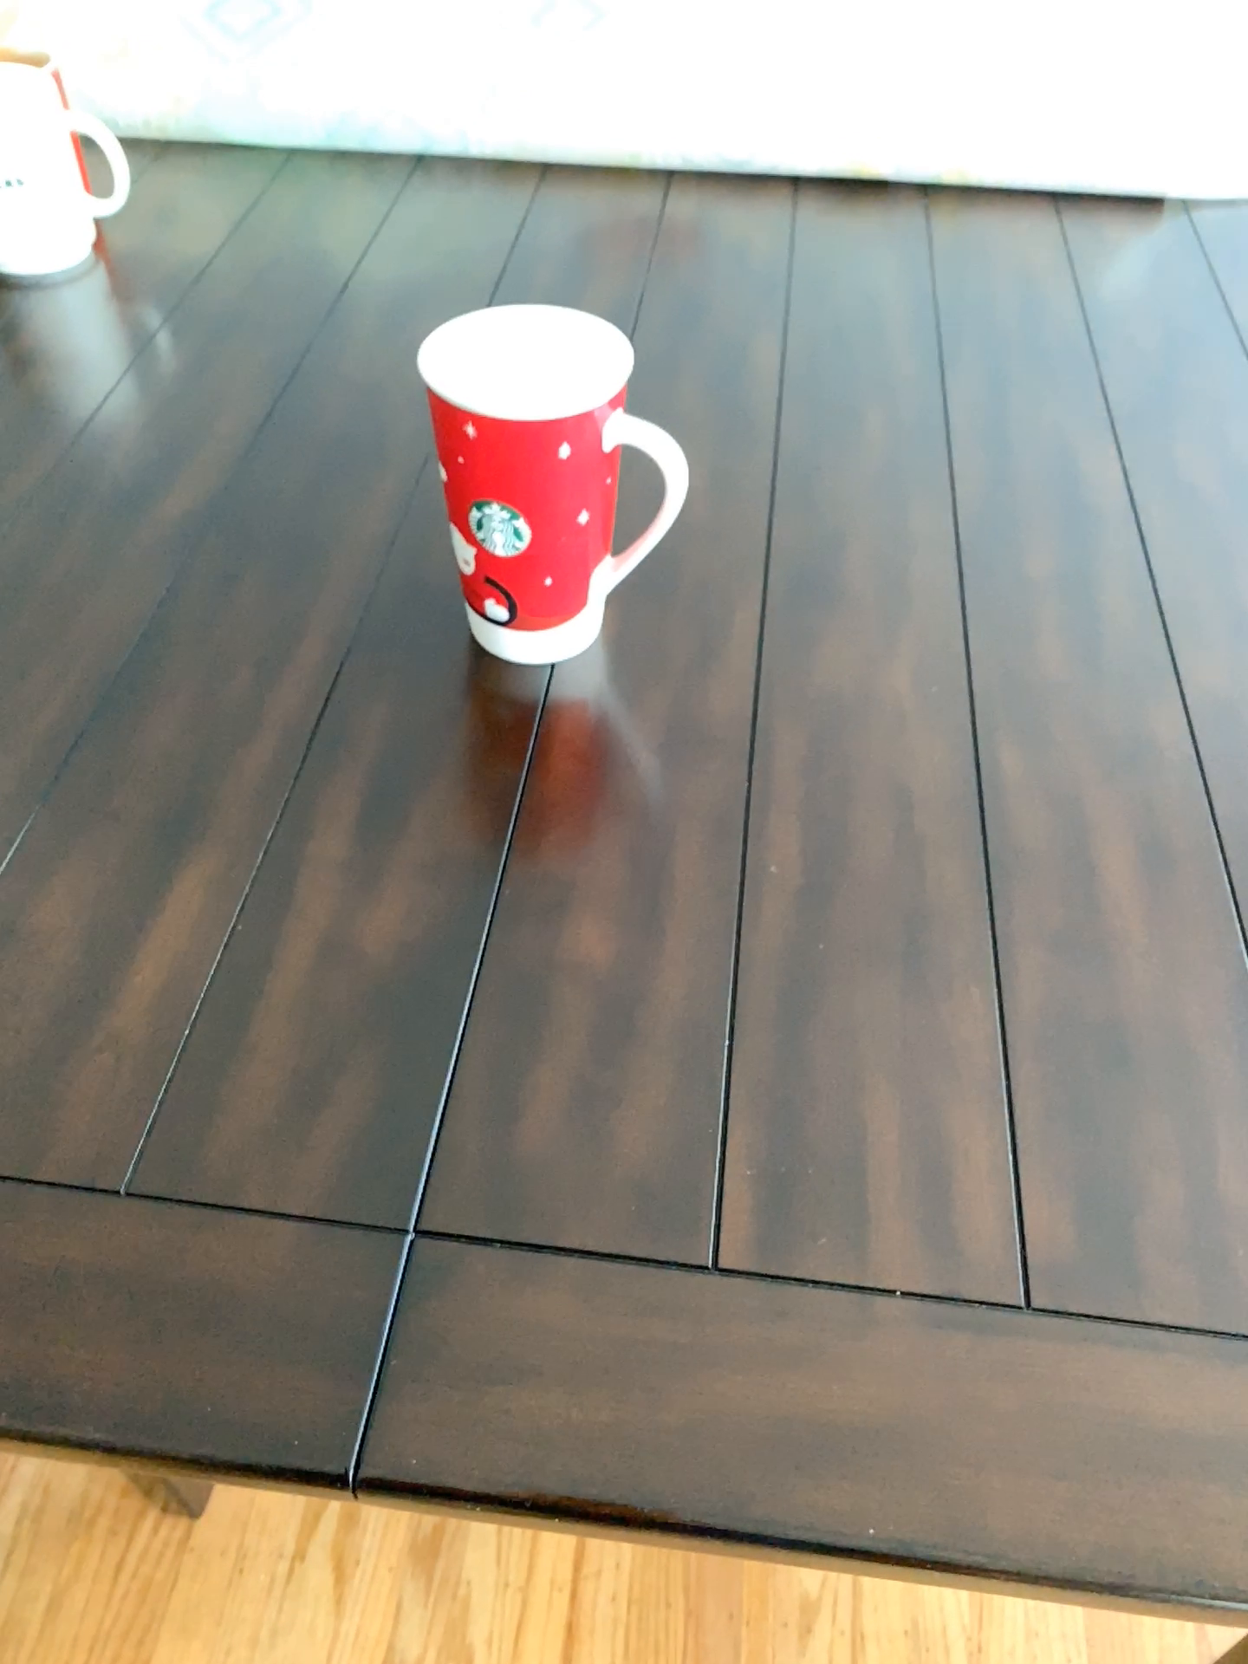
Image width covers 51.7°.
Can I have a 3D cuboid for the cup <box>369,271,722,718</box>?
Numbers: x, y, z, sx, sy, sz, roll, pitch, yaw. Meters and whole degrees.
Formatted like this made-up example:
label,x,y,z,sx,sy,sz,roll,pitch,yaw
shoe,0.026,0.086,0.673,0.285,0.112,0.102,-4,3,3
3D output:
label,x,y,z,sx,sy,sz,roll,pitch,yaw
cup,-0.033,-0.148,0.578,0.120,0.149,0.080,20,50,14
